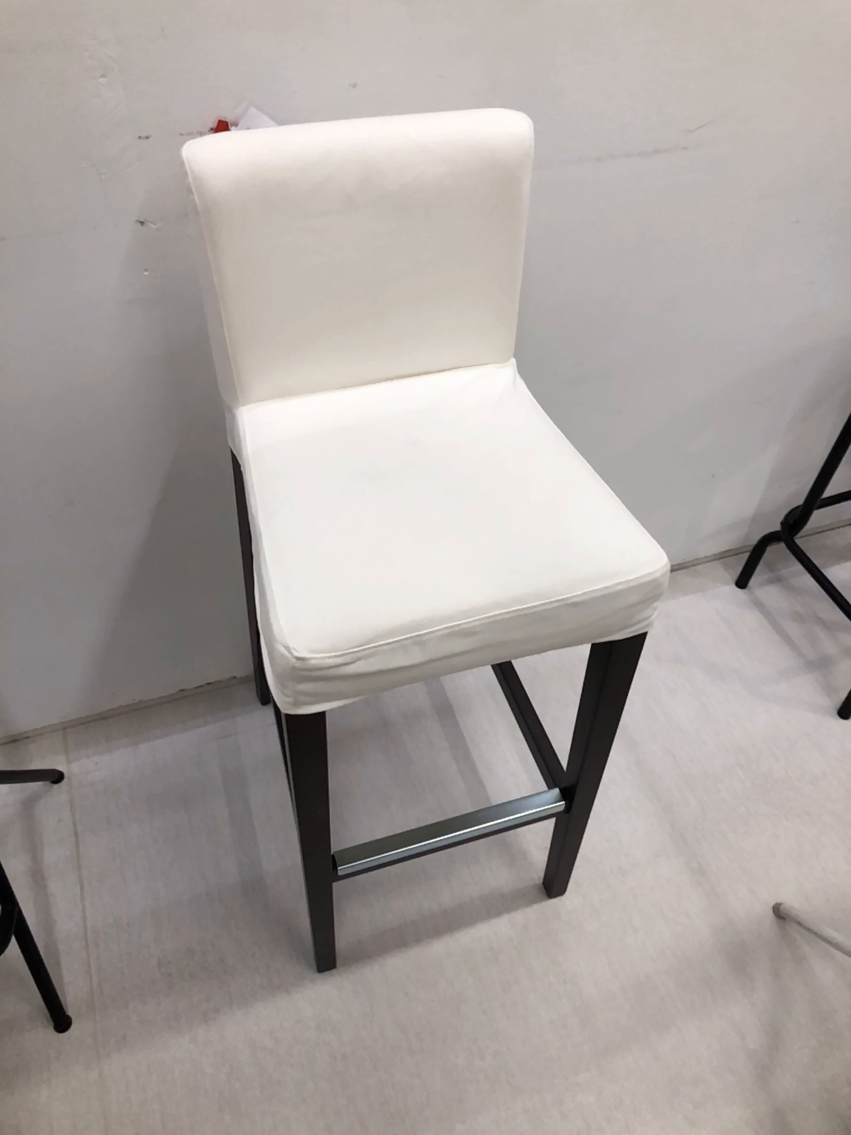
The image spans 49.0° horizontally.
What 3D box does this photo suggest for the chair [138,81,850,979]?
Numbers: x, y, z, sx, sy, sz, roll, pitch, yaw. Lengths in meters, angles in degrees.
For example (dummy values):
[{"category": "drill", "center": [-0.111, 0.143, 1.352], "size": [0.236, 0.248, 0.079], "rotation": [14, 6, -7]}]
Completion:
[{"category": "chair", "center": [0.003, -0.002, 1.102], "size": [0.440, 0.854, 0.533], "rotation": [-13, 49, -14]}]
